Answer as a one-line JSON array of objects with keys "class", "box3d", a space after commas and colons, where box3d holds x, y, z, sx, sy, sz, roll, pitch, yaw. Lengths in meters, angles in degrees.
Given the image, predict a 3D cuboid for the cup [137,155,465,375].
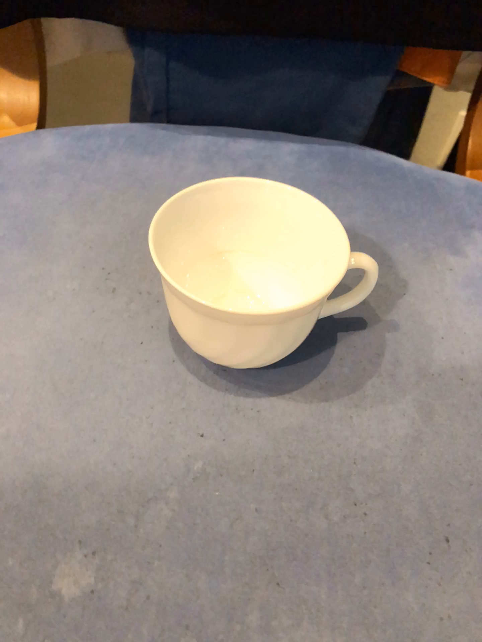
[{"class": "cup", "box3d": [0.021, -0.026, 0.238, 0.120, 0.050, 0.081, 2, 51, -3]}]
